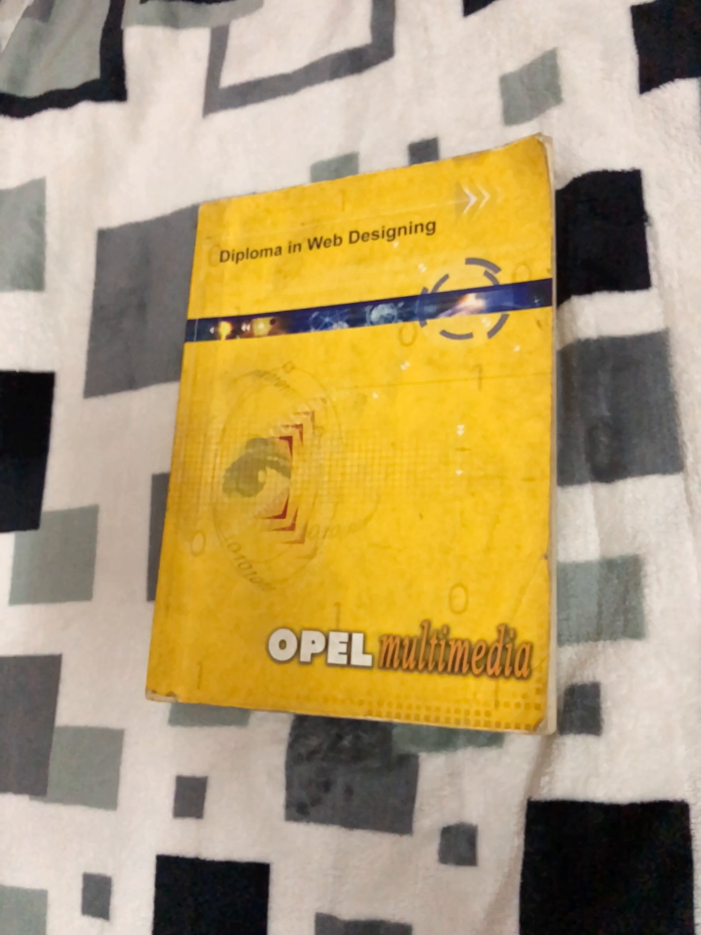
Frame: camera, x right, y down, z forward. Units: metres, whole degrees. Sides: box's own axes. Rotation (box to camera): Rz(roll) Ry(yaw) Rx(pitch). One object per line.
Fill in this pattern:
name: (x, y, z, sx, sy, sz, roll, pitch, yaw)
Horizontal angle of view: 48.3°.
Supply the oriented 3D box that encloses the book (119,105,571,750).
book: (0.004, -0.022, 0.434, 0.220, 0.070, 0.310, -2, 75, 23)
